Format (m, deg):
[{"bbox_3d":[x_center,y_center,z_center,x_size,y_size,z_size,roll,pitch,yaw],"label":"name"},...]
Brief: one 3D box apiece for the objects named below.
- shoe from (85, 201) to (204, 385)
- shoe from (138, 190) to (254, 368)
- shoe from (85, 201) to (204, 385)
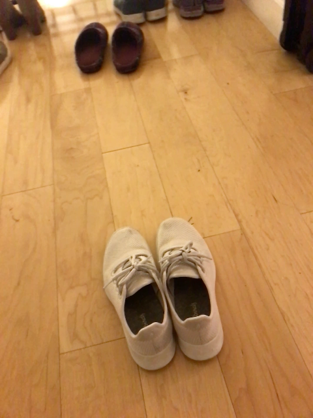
[{"bbox_3d":[-0.030,0.134,0.607,0.130,0.089,0.282,-17,51,-7],"label":"shoe"},{"bbox_3d":[0.054,0.104,0.589,0.120,0.070,0.282,-12,51,-3],"label":"shoe"},{"bbox_3d":[-0.030,0.134,0.607,0.130,0.089,0.282,-17,51,-7],"label":"shoe"}]
